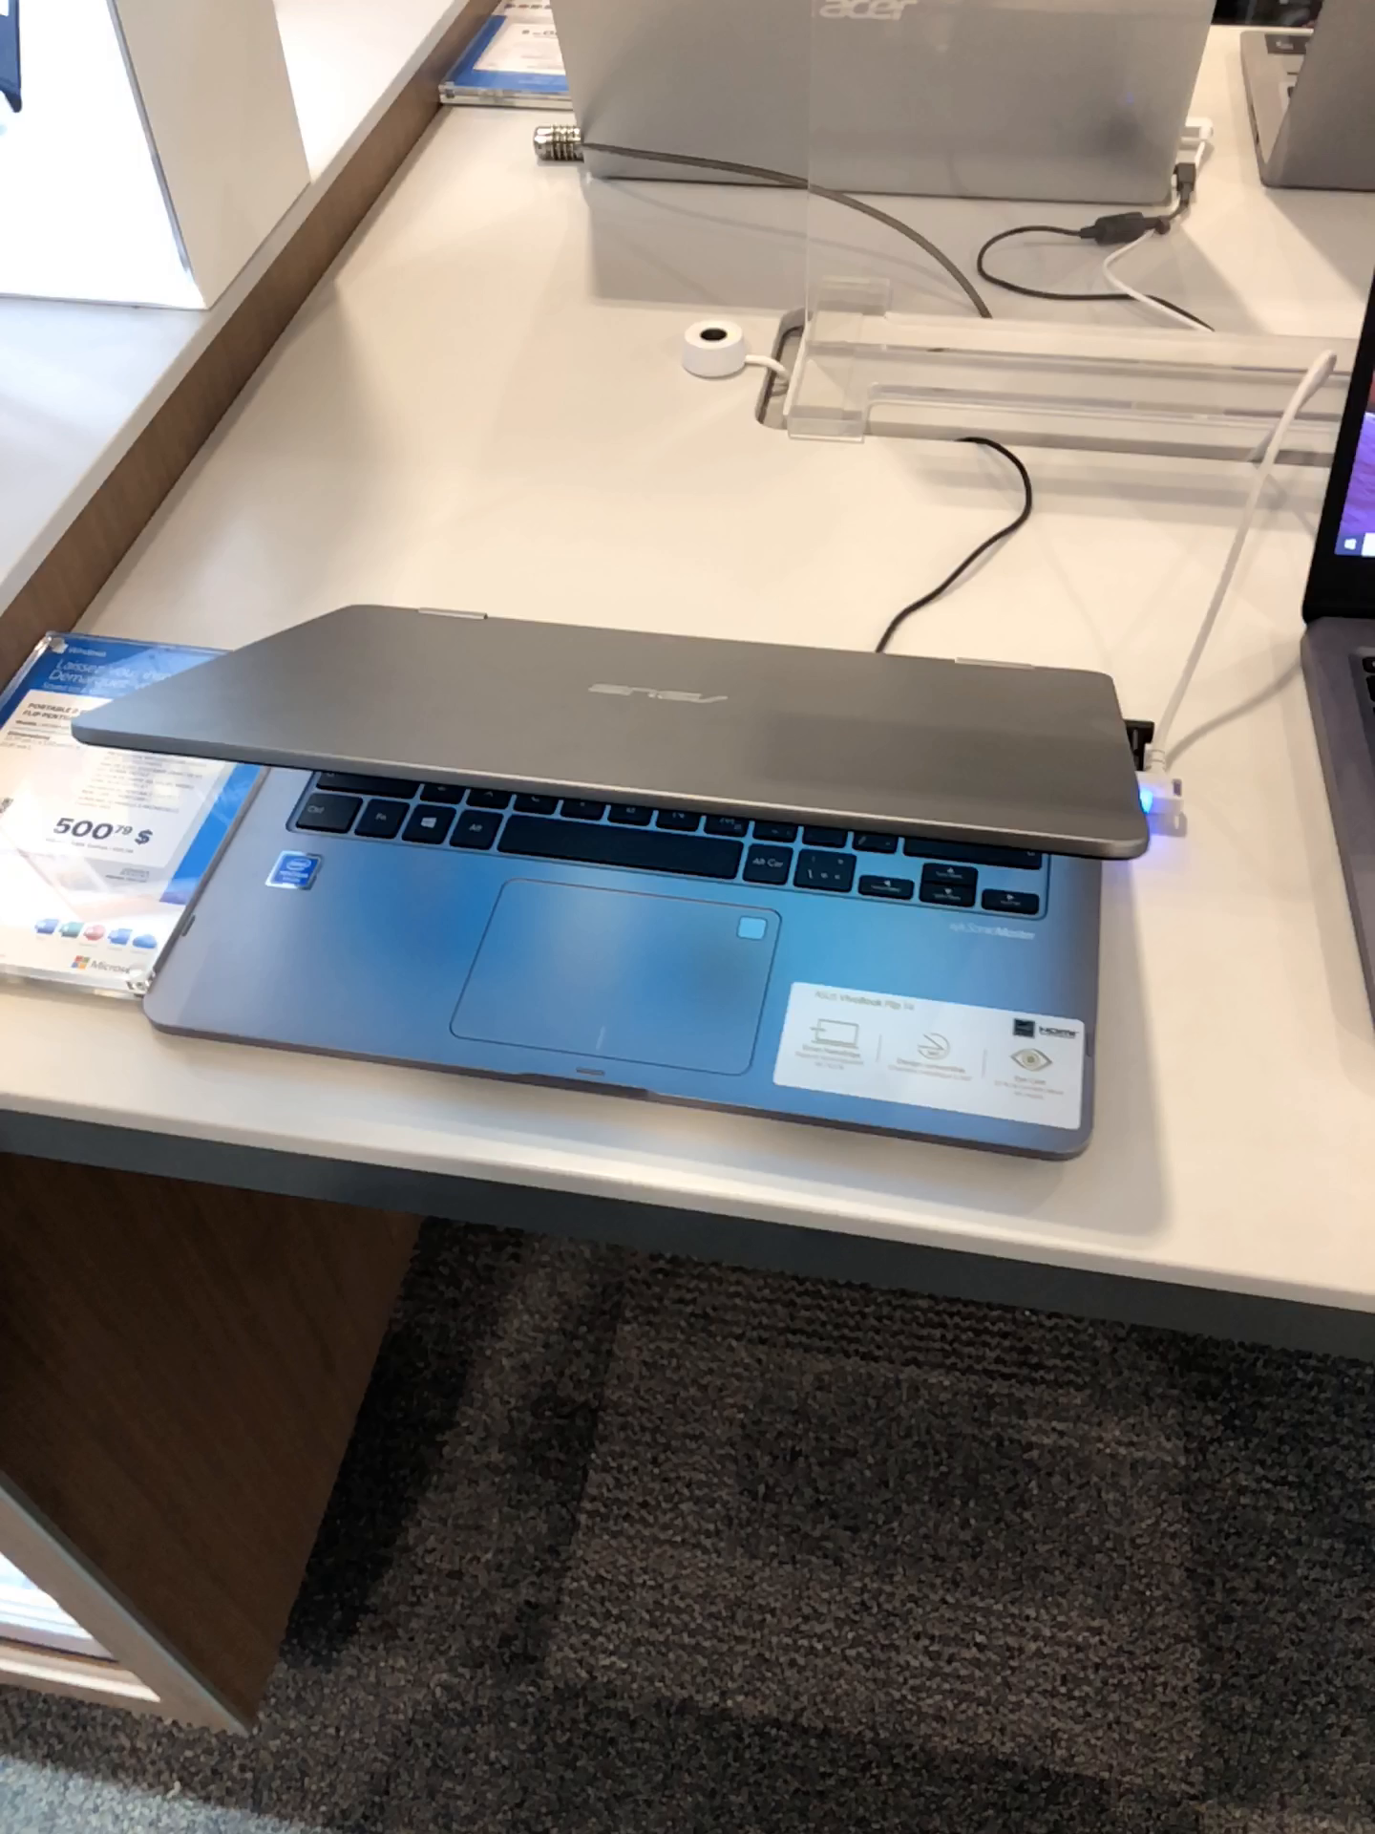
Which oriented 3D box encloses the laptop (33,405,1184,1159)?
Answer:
[{"bbox_3d":[-0.009,-0.061,0.517,0.321,0.105,0.215,7,50,10],"label":"laptop"}]
